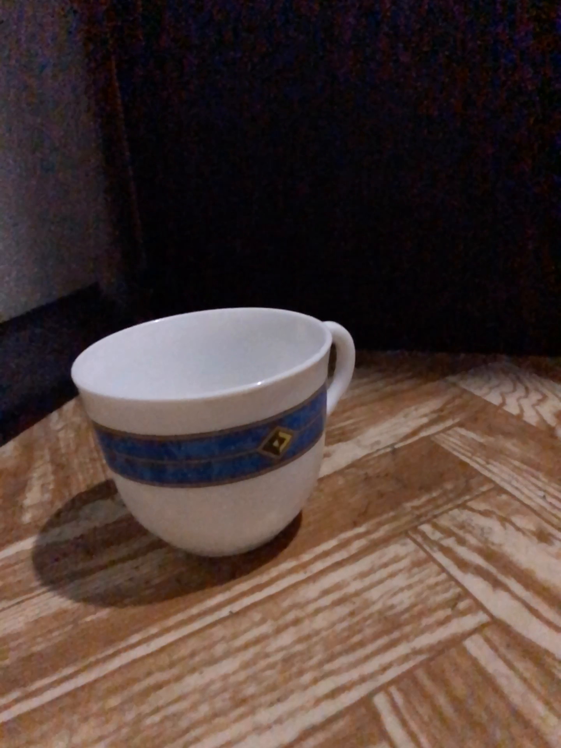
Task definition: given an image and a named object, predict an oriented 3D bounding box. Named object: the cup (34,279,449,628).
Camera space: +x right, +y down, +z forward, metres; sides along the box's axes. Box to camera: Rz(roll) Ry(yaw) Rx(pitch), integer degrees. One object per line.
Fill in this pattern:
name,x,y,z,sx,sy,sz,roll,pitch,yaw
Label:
cup,-0.010,0.013,0.221,0.111,0.062,0.088,-21,26,-36
